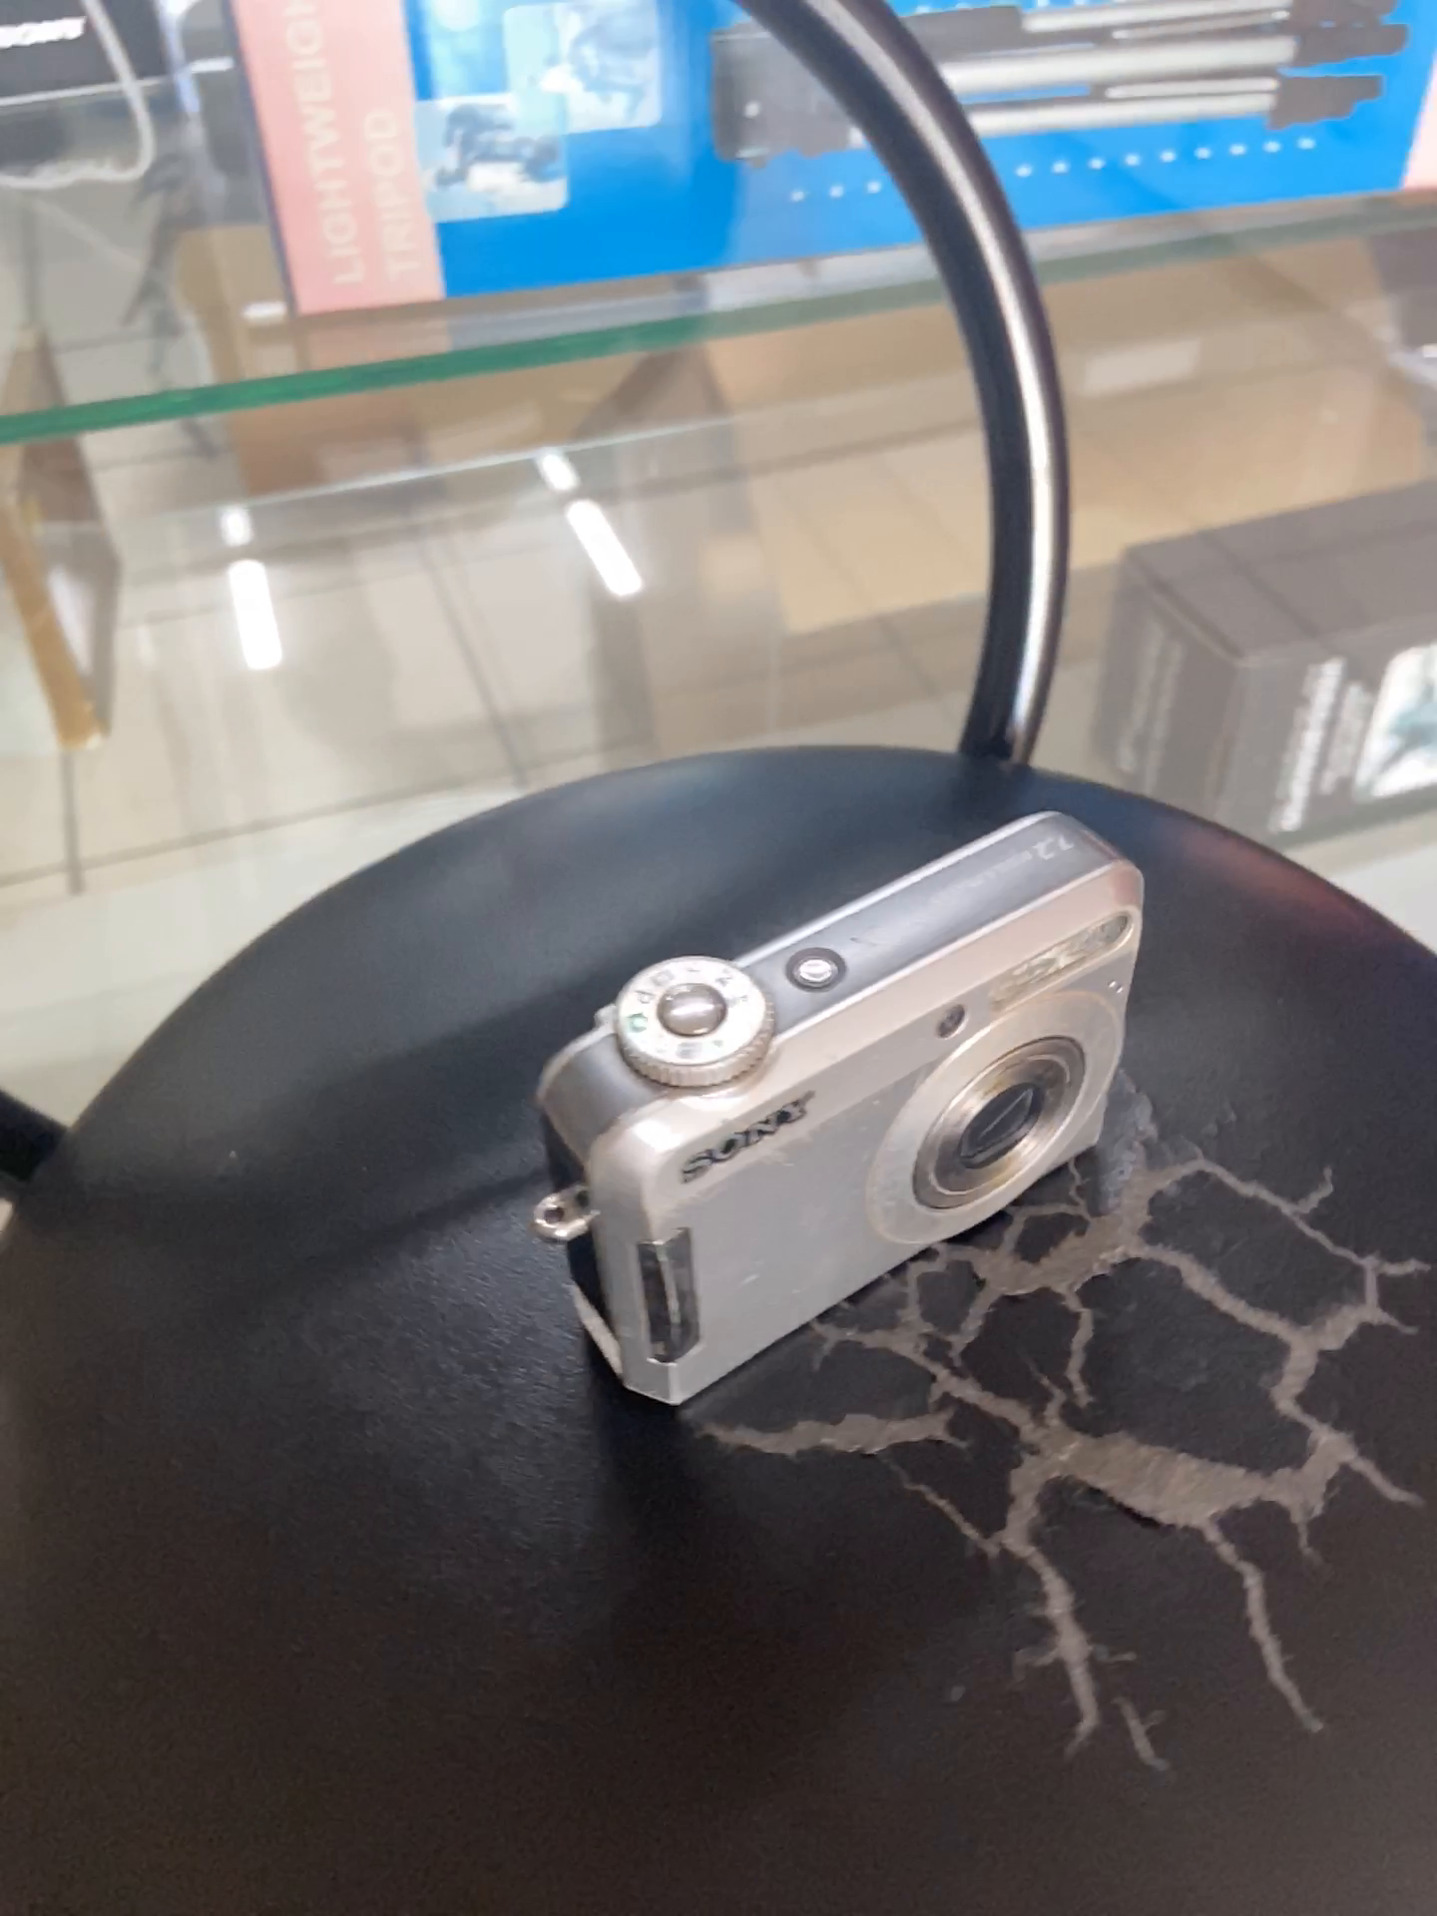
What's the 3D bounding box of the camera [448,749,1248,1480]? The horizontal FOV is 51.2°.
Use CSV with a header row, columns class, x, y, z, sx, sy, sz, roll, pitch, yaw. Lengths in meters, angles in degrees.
class,x,y,z,sx,sy,sz,roll,pitch,yaw
camera,0.020,0.018,0.211,0.100,0.050,0.040,-27,49,-23
